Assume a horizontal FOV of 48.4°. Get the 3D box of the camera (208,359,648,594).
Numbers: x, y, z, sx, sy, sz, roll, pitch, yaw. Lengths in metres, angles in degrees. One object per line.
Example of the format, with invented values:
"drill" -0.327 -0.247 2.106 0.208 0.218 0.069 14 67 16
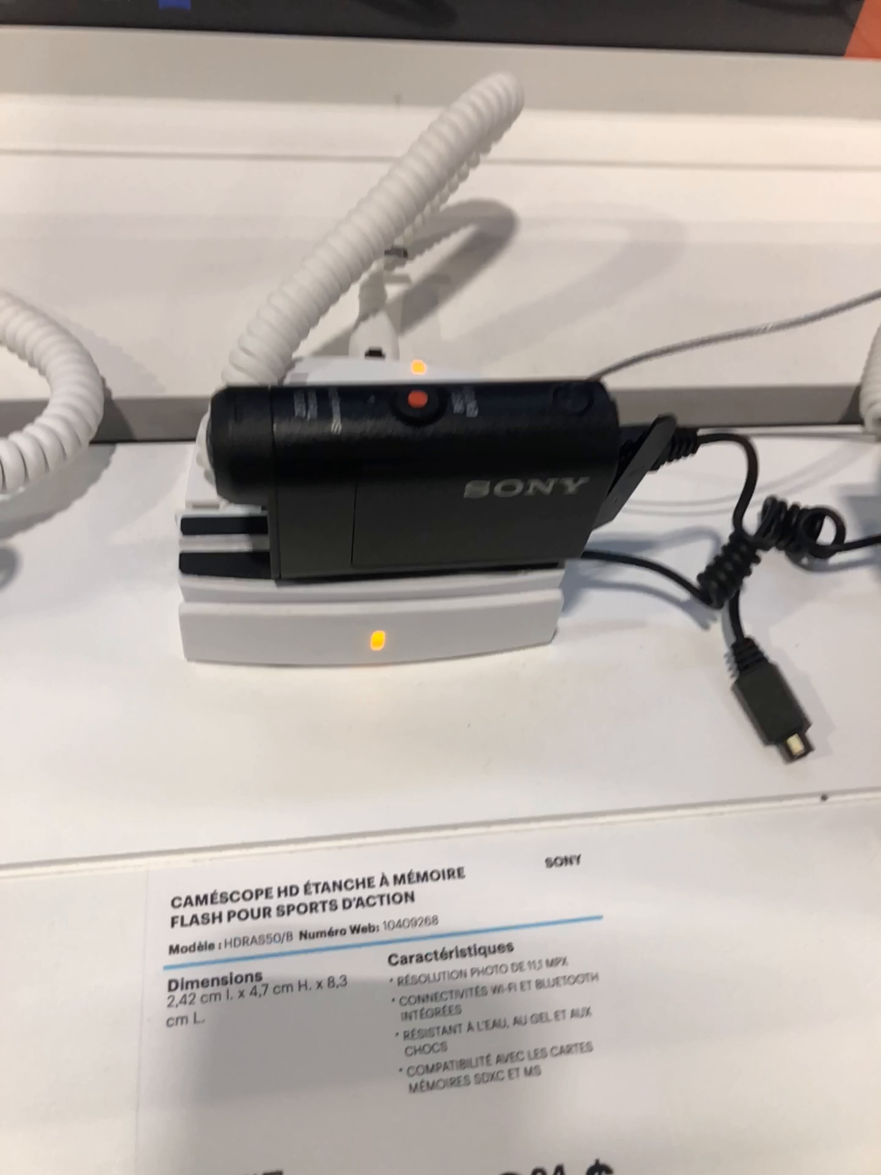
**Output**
"camera" -0.004 -0.022 0.200 0.080 0.045 0.020 -3 53 -9
